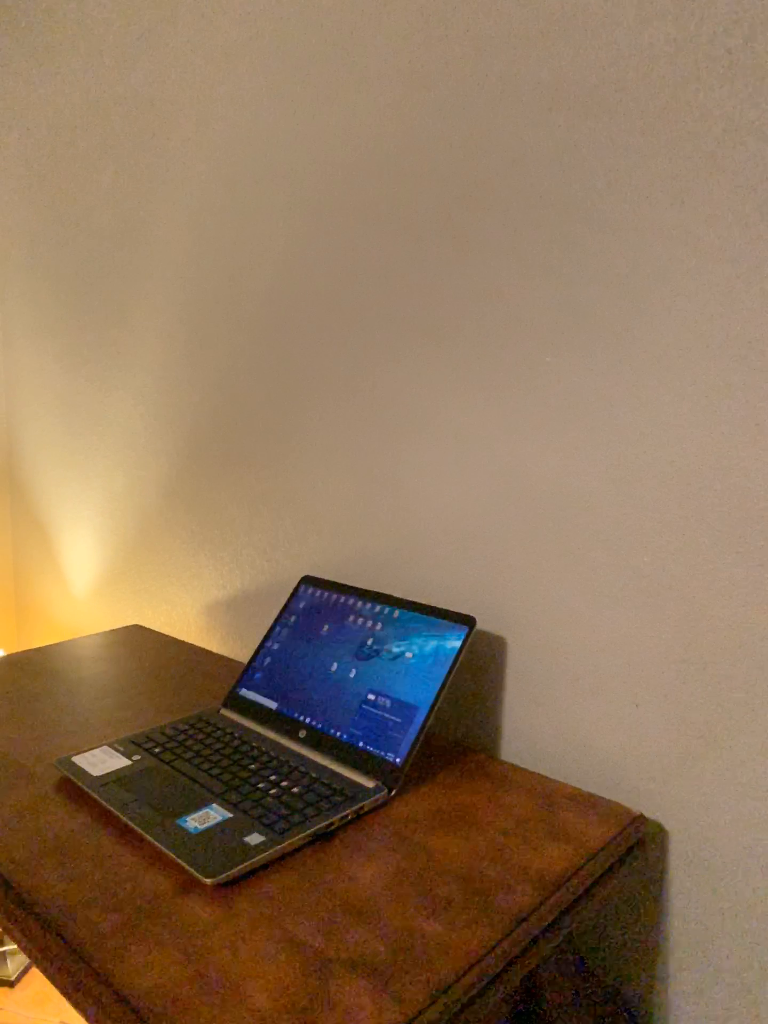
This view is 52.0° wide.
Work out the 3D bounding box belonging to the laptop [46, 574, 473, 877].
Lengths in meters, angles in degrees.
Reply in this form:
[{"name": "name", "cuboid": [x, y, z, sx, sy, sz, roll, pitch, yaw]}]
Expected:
[{"name": "laptop", "cuboid": [-0.137, 0.201, 0.906, 0.317, 0.152, 0.368, 8, 11, 44]}]
